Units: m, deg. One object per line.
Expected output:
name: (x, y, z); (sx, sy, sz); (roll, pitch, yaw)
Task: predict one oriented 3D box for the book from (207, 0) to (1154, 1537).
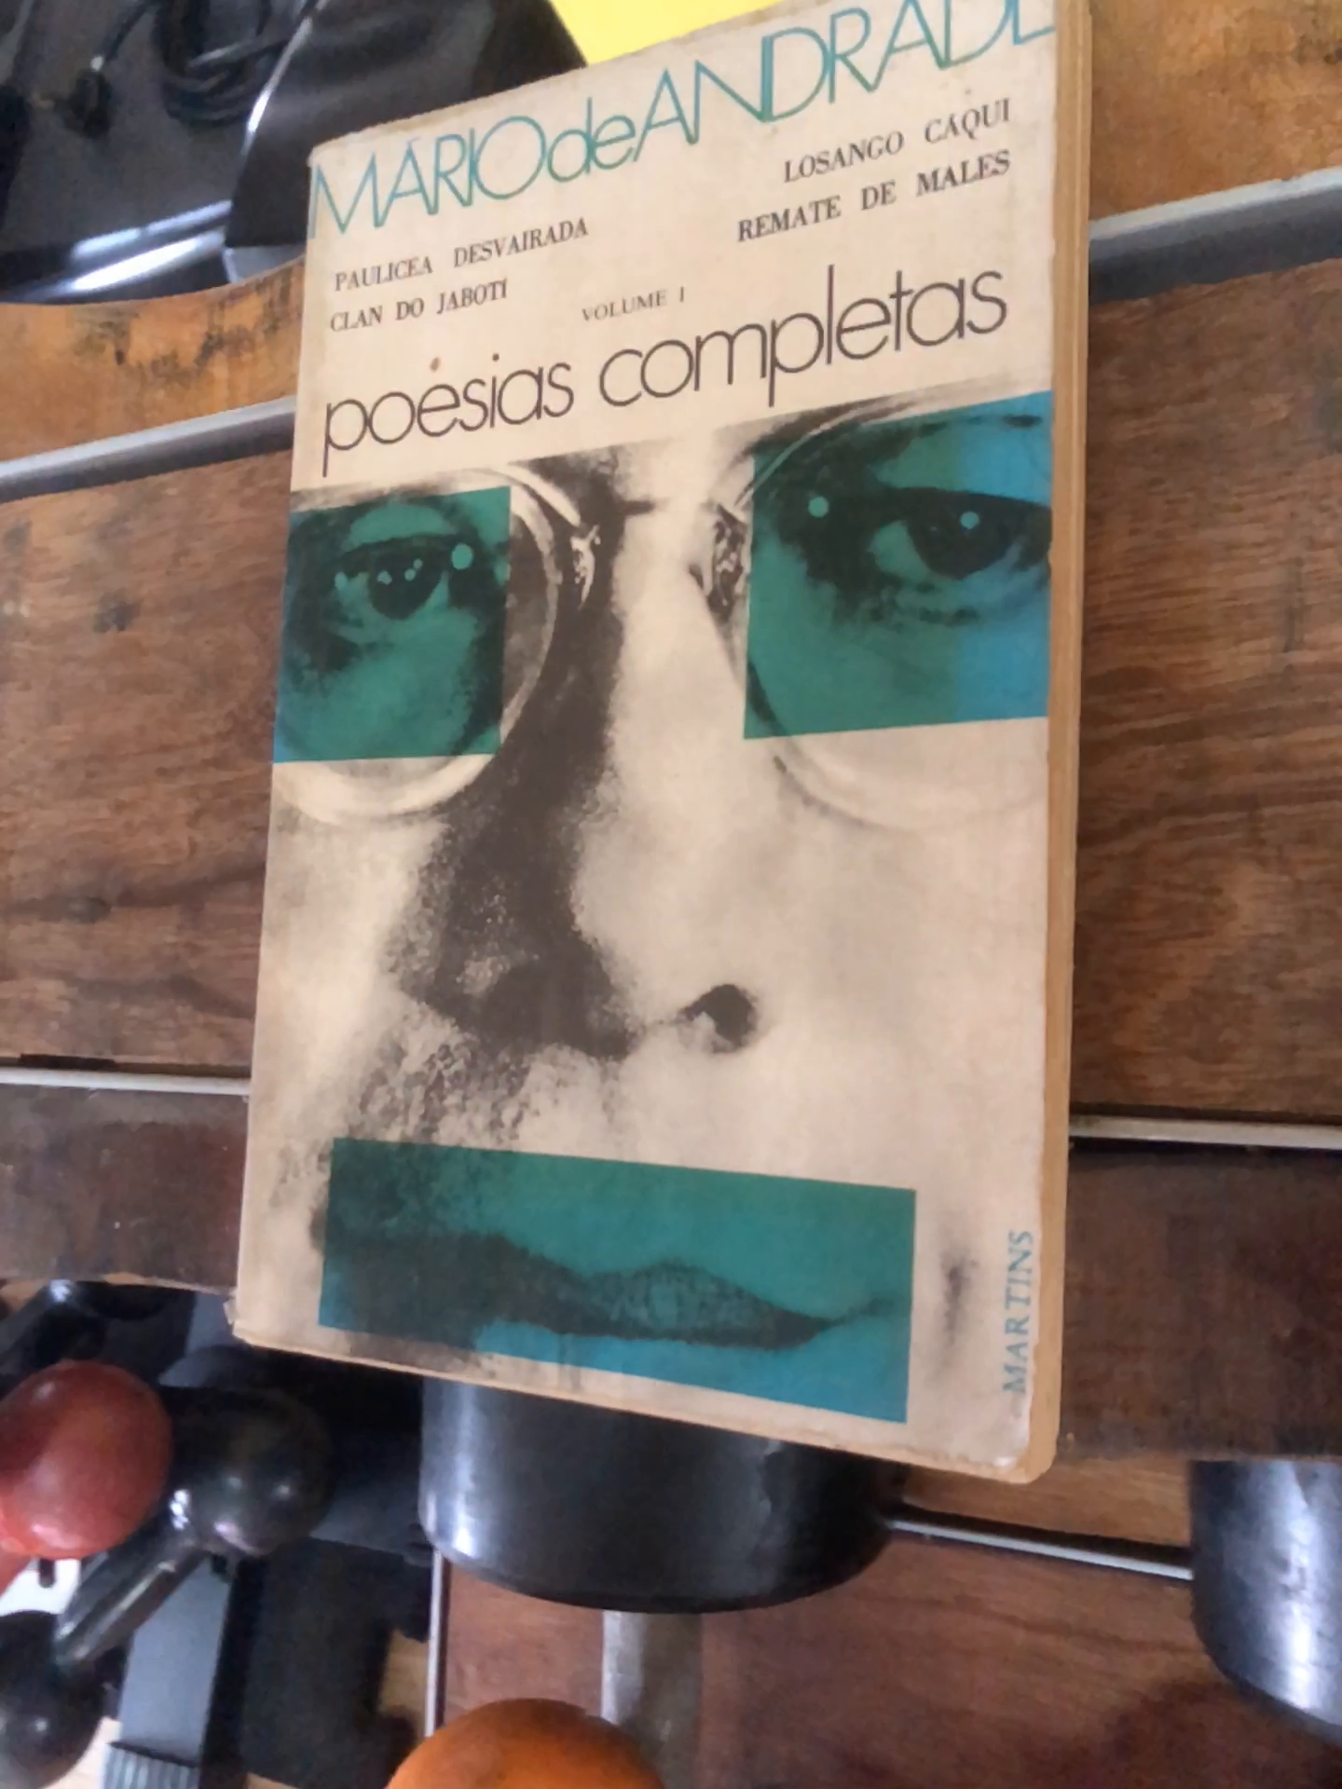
book: (-0.004, -0.029, 0.222); (0.140, 0.020, 0.209); (0, 86, 27)
